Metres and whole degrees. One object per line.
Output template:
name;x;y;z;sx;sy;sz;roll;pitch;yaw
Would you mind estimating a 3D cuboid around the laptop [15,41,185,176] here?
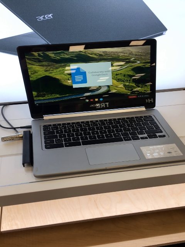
laptop;0.026;-0.053;0.581;0.355;0.189;0.276;-7;41;-7
